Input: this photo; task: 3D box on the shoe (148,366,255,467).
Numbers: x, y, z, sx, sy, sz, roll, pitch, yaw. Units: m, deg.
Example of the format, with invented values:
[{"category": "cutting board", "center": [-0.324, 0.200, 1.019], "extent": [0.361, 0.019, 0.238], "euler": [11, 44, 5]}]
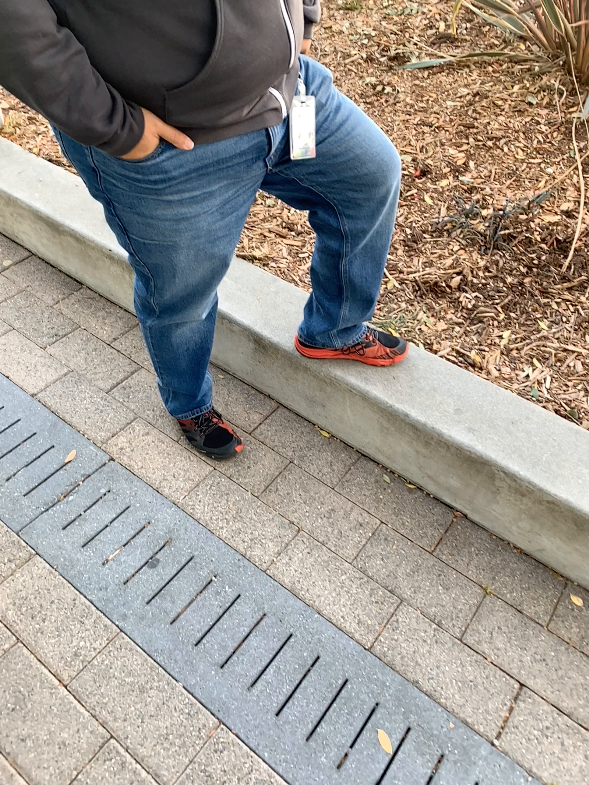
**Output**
[{"category": "shoe", "center": [-0.267, 0.063, 1.713], "extent": [0.307, 0.080, 0.137], "euler": [37, 54, 28]}]

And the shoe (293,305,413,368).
[{"category": "shoe", "center": [0.157, -0.154, 1.632], "extent": [0.310, 0.080, 0.122], "euler": [6, 45, 2]}]
